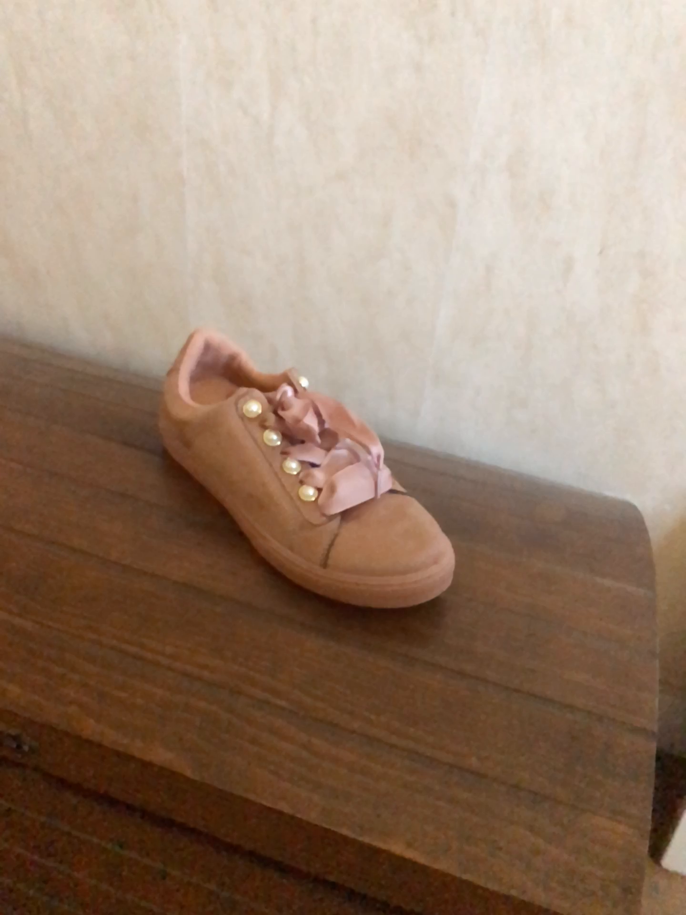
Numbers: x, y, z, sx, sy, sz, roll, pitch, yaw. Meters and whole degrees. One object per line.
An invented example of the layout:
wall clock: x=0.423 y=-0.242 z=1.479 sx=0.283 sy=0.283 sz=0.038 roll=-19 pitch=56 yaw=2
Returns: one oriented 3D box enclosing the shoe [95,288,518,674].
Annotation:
shoe: x=-0.039 y=-0.005 z=0.506 sx=0.111 sy=0.089 sz=0.280 roll=-27 pitch=49 yaw=-35
